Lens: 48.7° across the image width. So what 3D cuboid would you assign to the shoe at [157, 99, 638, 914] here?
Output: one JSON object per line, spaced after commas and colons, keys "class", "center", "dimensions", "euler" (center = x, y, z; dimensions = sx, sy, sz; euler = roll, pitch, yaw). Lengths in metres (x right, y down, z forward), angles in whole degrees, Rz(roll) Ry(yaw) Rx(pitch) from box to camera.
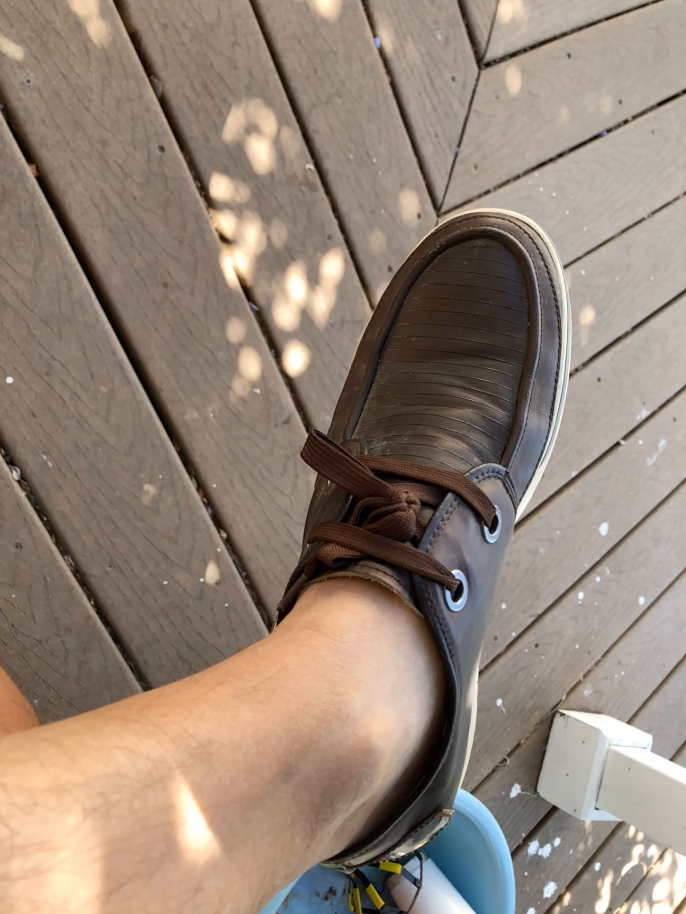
{"class": "shoe", "center": [0.031, 0.017, 0.307], "dimensions": [0.102, 0.097, 0.274], "euler": [30, 75, -72]}
